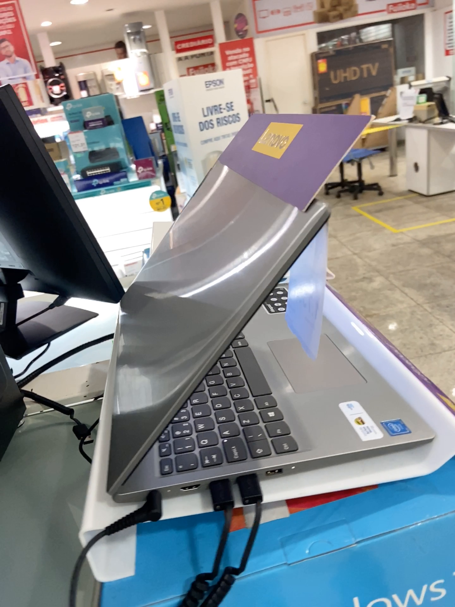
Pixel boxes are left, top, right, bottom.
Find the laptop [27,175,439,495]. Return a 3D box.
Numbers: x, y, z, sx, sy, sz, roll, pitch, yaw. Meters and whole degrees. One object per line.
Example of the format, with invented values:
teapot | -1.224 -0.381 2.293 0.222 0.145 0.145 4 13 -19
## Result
laptop | -0.007 -0.021 0.468 0.243 0.162 0.358 -9 22 -8
